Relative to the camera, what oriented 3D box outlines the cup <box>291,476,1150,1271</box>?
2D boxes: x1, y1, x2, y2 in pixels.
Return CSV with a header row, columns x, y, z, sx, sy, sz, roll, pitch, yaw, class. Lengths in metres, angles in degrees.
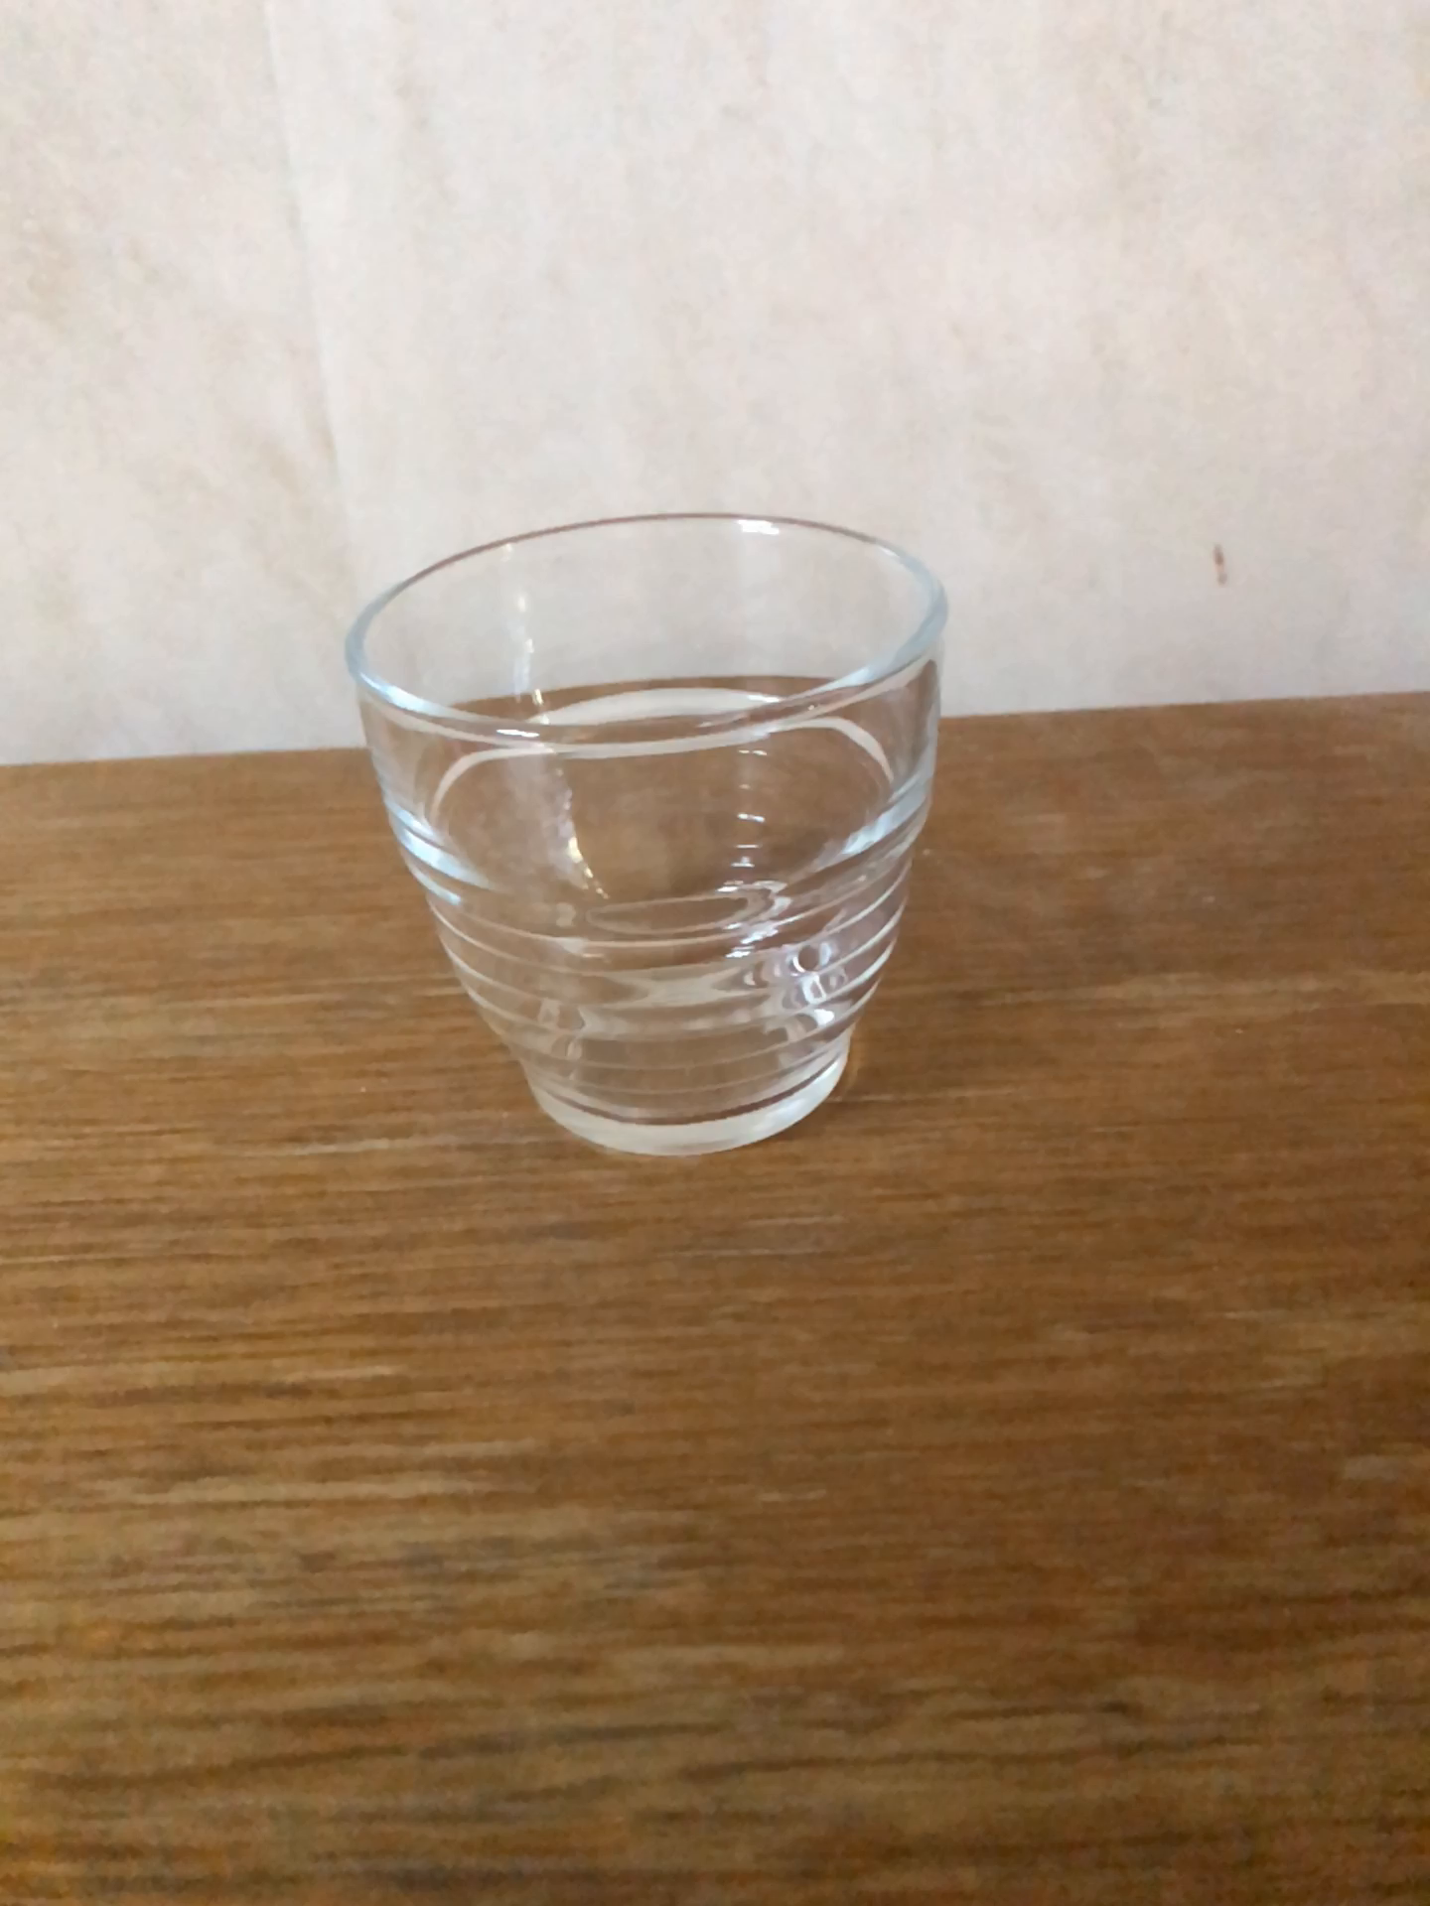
x,y,z,sx,sy,sz,roll,pitch,yaw,class
-0.003,-0.018,0.209,0.080,0.060,0.080,-2,31,1,cup
